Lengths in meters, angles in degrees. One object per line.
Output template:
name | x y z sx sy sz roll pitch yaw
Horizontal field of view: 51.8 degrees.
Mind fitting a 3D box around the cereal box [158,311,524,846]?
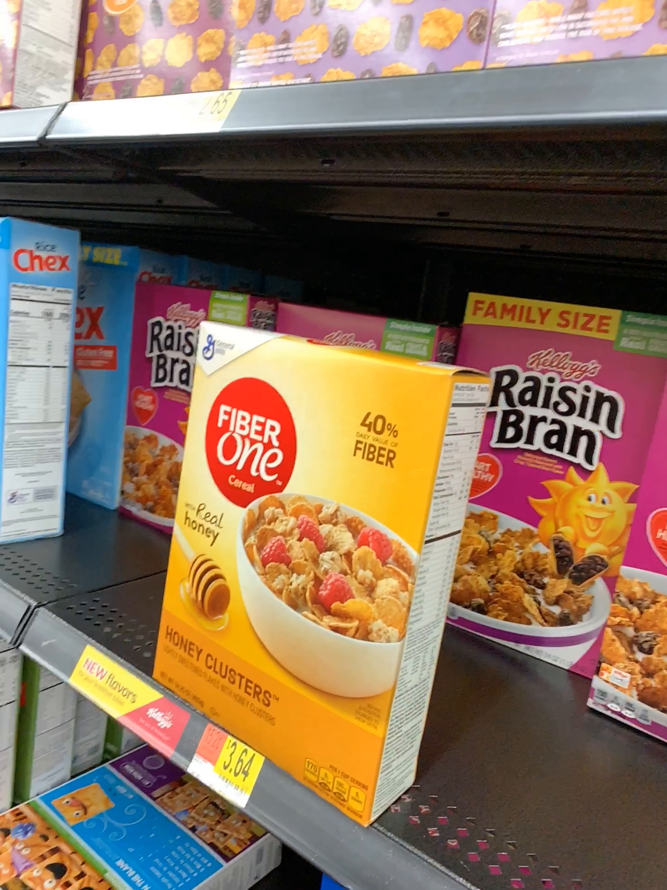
cereal box | -0.012 0.062 0.423 0.200 0.259 0.050 16 12 37
